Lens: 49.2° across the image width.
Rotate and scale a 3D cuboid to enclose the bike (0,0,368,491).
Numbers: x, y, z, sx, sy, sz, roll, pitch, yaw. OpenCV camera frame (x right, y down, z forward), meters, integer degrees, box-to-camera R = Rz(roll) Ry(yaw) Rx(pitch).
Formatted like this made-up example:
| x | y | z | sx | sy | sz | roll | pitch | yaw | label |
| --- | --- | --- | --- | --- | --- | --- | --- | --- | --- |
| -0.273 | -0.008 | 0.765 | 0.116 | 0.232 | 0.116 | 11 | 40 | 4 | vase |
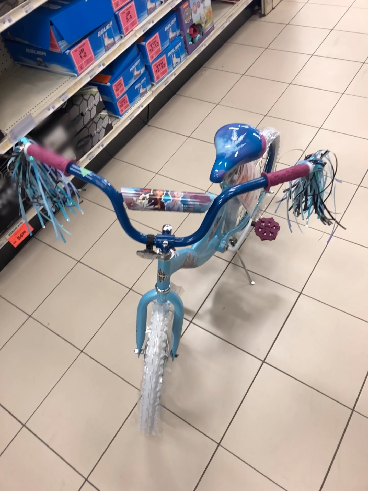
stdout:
| x | y | z | sx | sy | sz | roll | pitch | yaw | label |
| --- | --- | --- | --- | --- | --- | --- | --- | --- | --- |
| 0.116 | -0.077 | 1.183 | 0.641 | 0.953 | 1.178 | 15 | 55 | 22 | bike |
